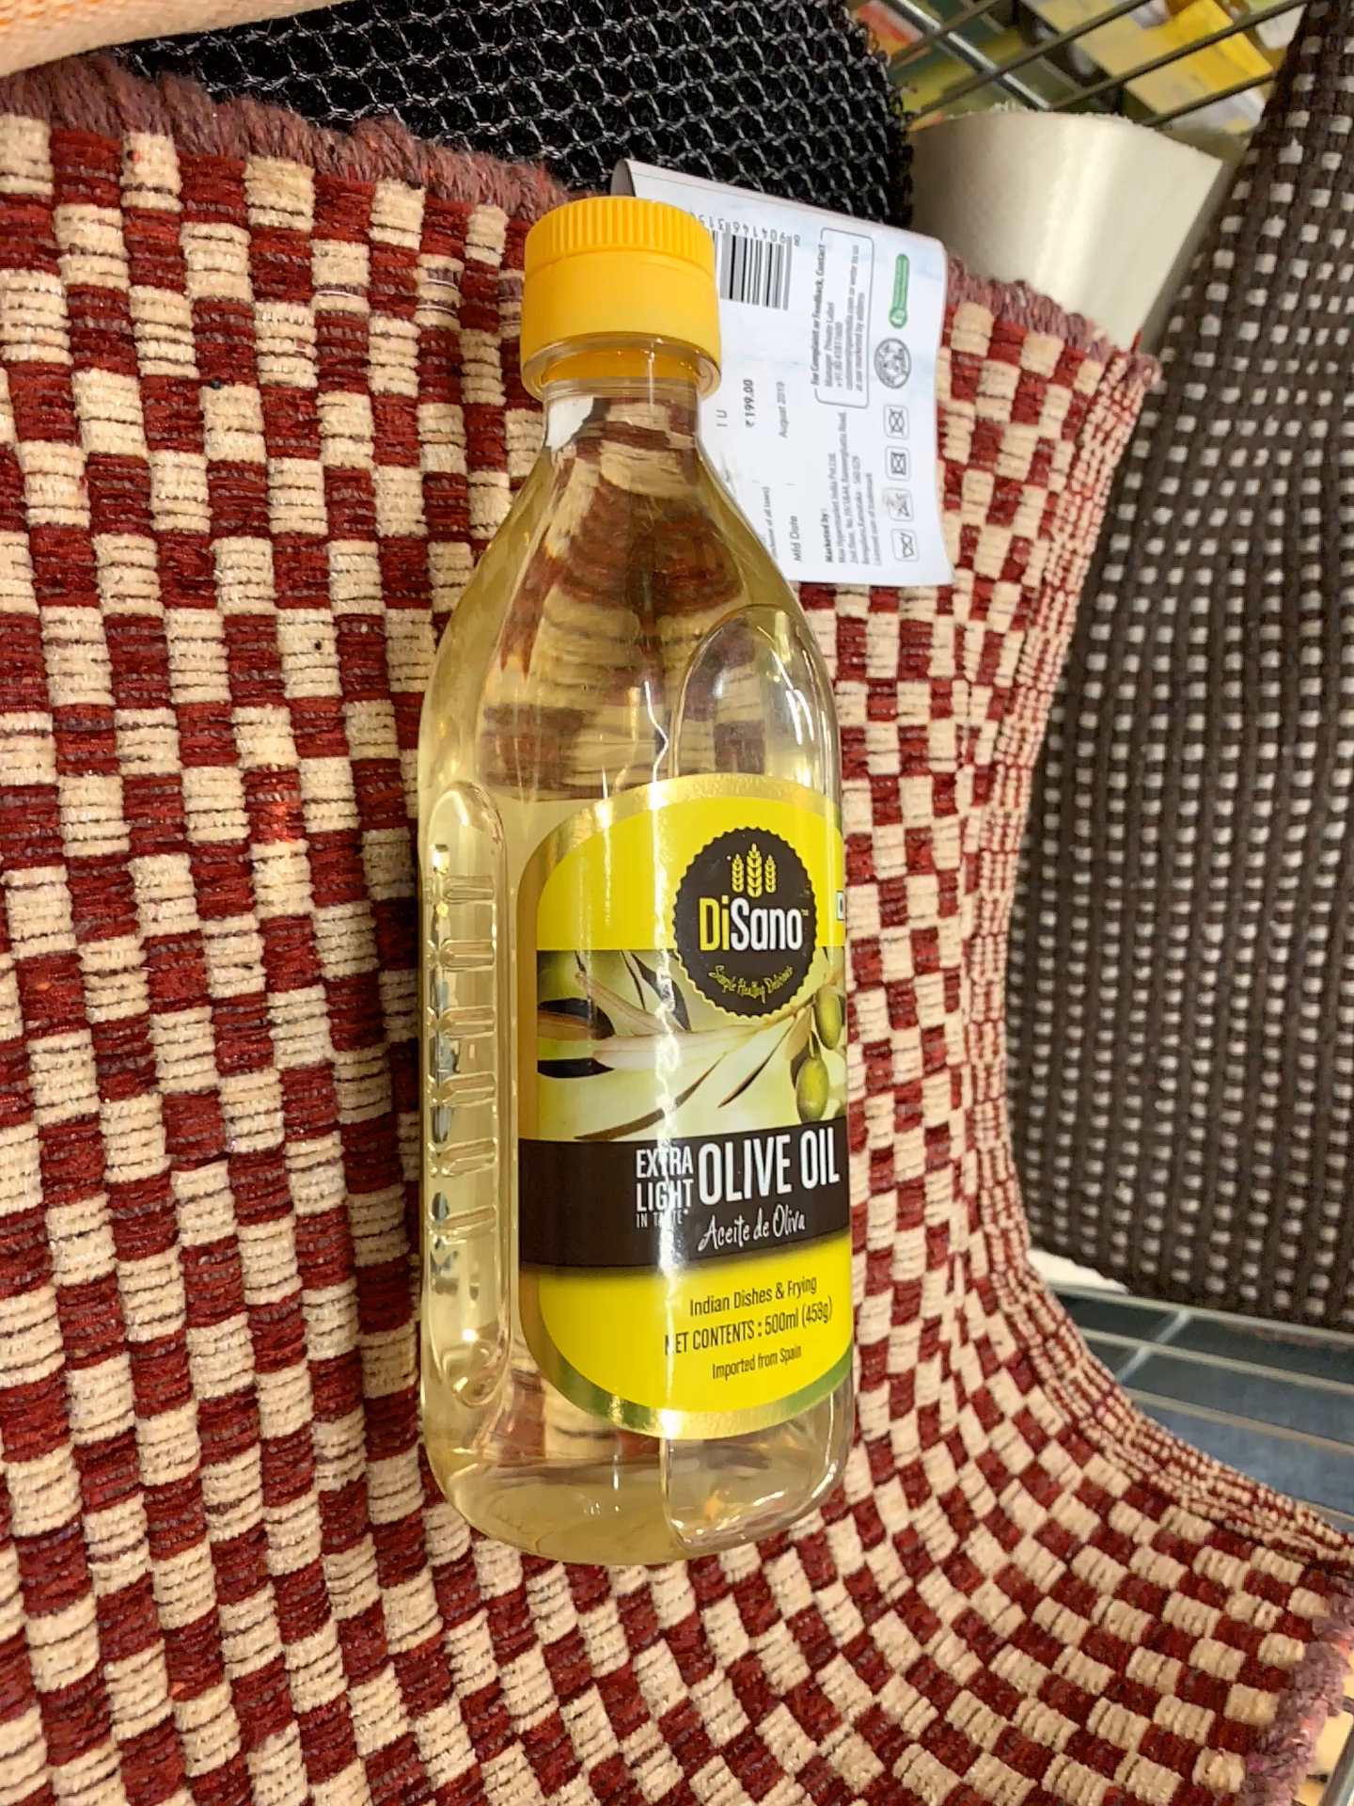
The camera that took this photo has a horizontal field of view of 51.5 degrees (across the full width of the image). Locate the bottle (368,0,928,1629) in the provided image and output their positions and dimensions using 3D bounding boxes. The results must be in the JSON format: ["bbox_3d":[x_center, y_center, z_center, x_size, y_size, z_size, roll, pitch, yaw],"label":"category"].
[{"bbox_3d":[-0.005,-0.016,0.237,0.070,0.060,0.230,0,89,-39],"label":"bottle"}]
